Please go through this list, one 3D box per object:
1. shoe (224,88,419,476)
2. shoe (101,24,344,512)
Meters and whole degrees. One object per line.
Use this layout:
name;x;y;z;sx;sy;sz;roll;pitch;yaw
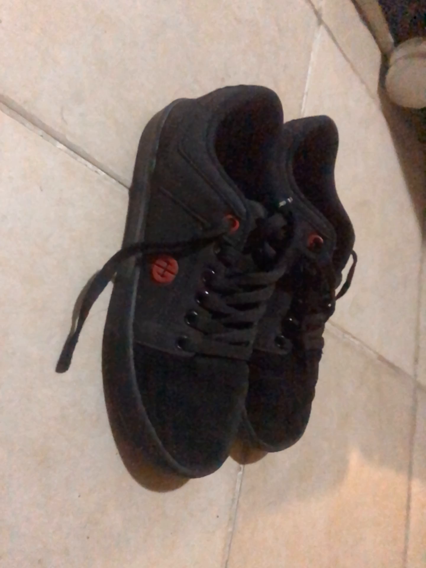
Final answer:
shoe;0.080;0.001;0.360;0.101;0.099;0.240;8;78;-47
shoe;0.011;-0.006;0.296;0.101;0.099;0.240;13;75;-46
